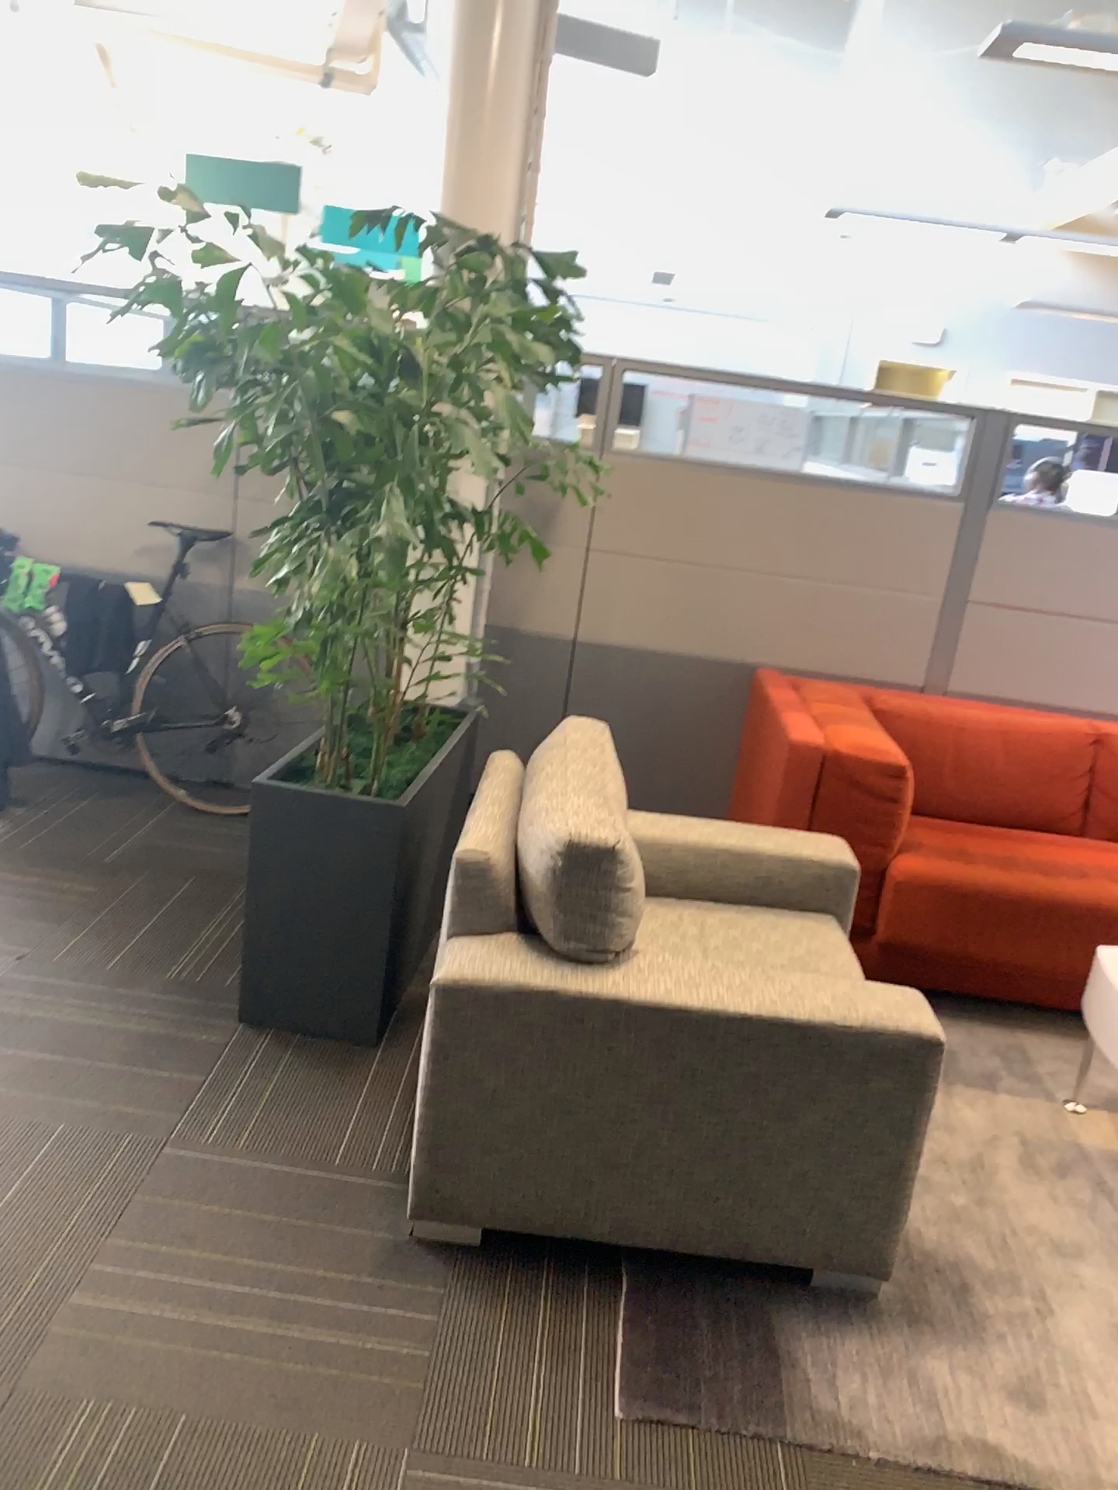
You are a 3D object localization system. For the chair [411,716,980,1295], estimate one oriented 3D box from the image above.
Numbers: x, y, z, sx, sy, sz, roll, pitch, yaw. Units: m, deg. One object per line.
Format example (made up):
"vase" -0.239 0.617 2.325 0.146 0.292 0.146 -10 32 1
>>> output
"chair" 0.222 0.465 2.413 0.870 0.727 0.924 8 16 -1
